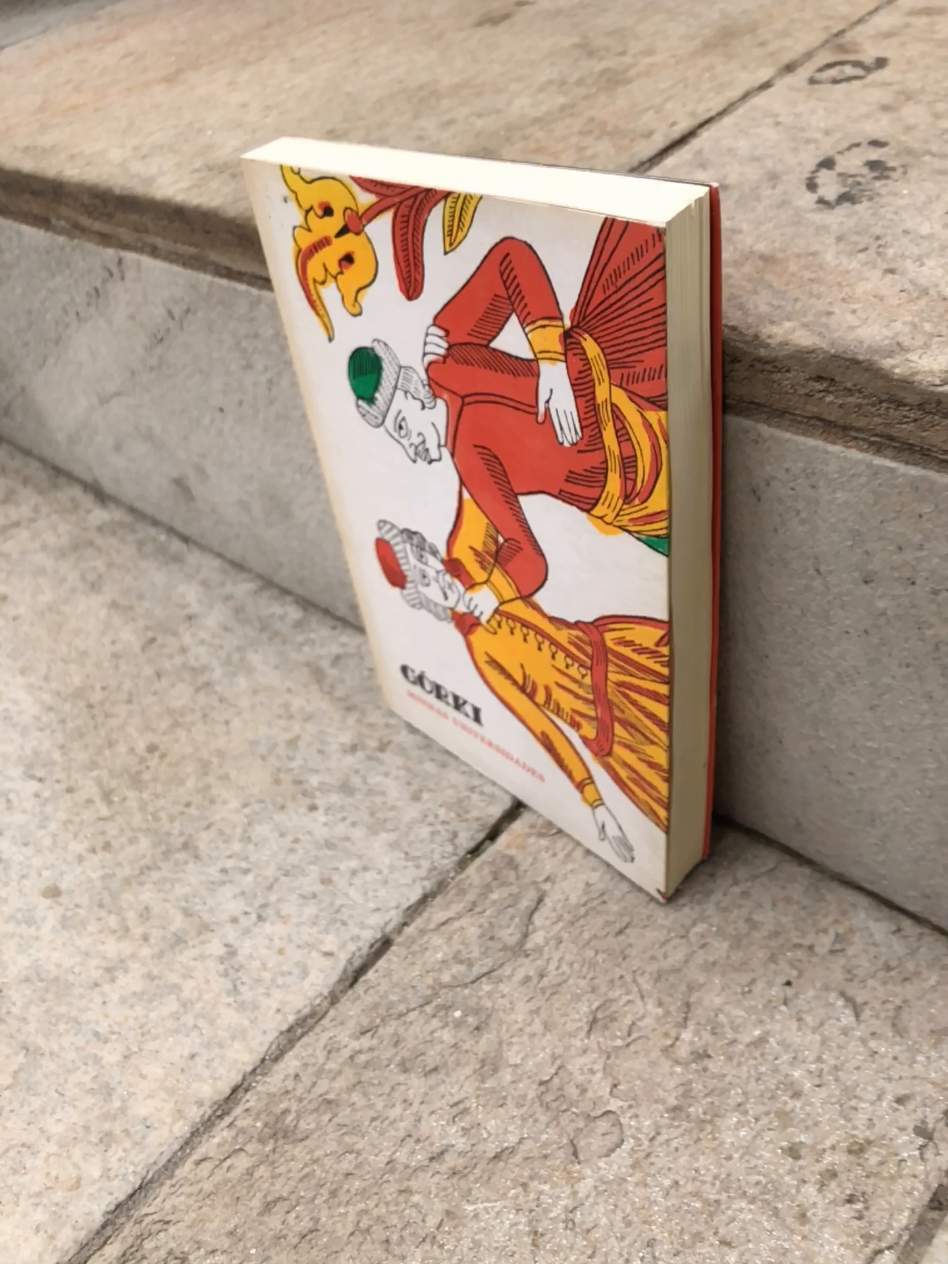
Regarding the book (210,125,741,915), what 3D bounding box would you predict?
[{"bbox_3d":[0.003,-0.028,0.293,0.030,0.189,0.142,-34,45,-28],"label":"book"}]
